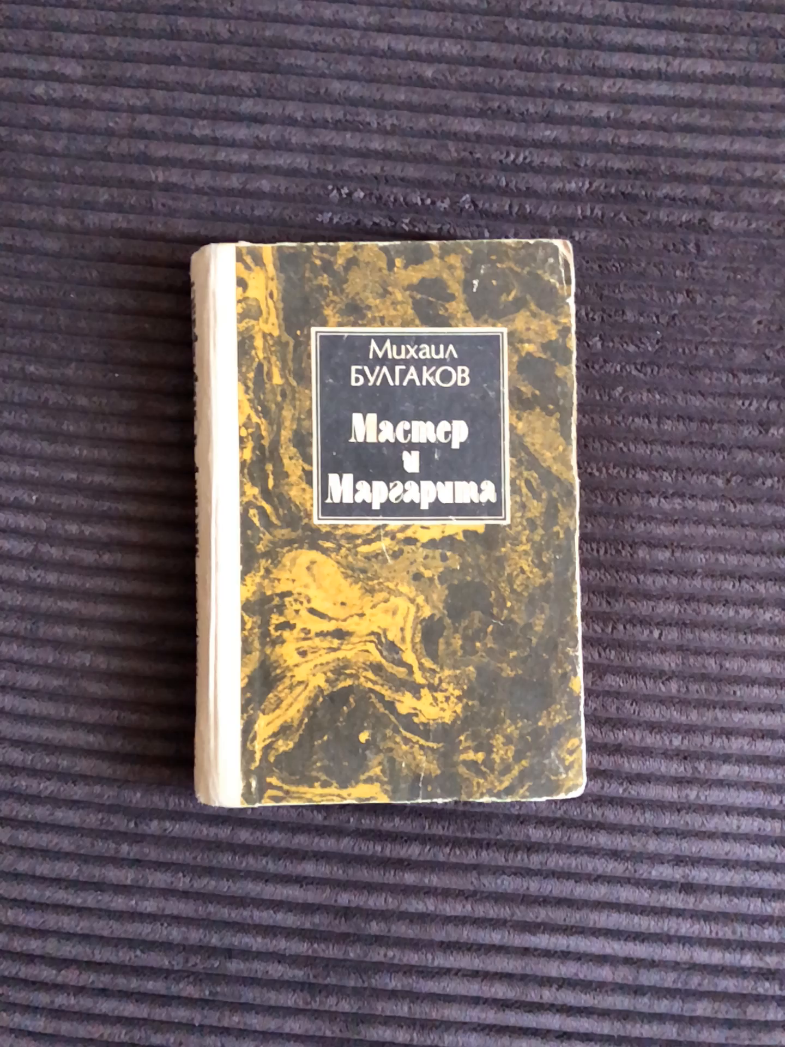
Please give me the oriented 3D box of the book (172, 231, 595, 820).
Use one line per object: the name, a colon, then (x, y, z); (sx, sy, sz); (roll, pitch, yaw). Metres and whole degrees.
book: (-0.005, -0.001, 0.346); (0.154, 0.035, 0.220); (-2, 86, -2)
